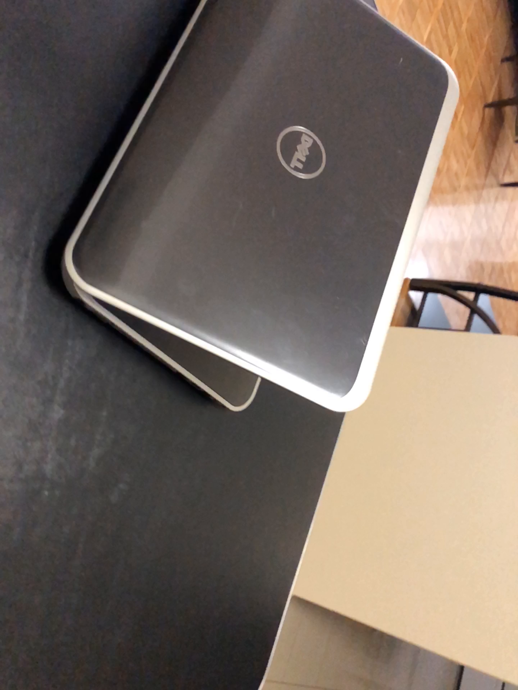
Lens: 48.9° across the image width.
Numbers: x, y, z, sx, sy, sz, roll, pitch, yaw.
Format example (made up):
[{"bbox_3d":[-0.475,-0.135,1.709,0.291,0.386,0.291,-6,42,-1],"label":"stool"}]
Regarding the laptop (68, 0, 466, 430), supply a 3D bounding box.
[{"bbox_3d":[0.045,-0.145,0.497,0.241,0.137,0.356,43,60,-47],"label":"laptop"}]
